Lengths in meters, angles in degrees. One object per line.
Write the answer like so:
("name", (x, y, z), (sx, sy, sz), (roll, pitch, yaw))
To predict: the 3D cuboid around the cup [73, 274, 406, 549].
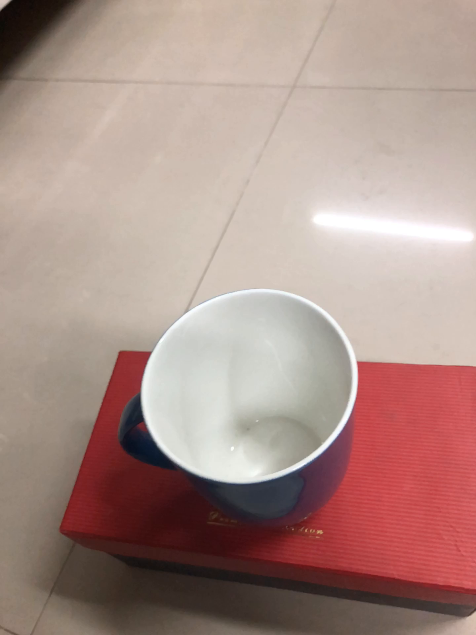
("cup", (0.005, 0.044, 0.228), (0.110, 0.080, 0.080), (-7, 53, 9))
